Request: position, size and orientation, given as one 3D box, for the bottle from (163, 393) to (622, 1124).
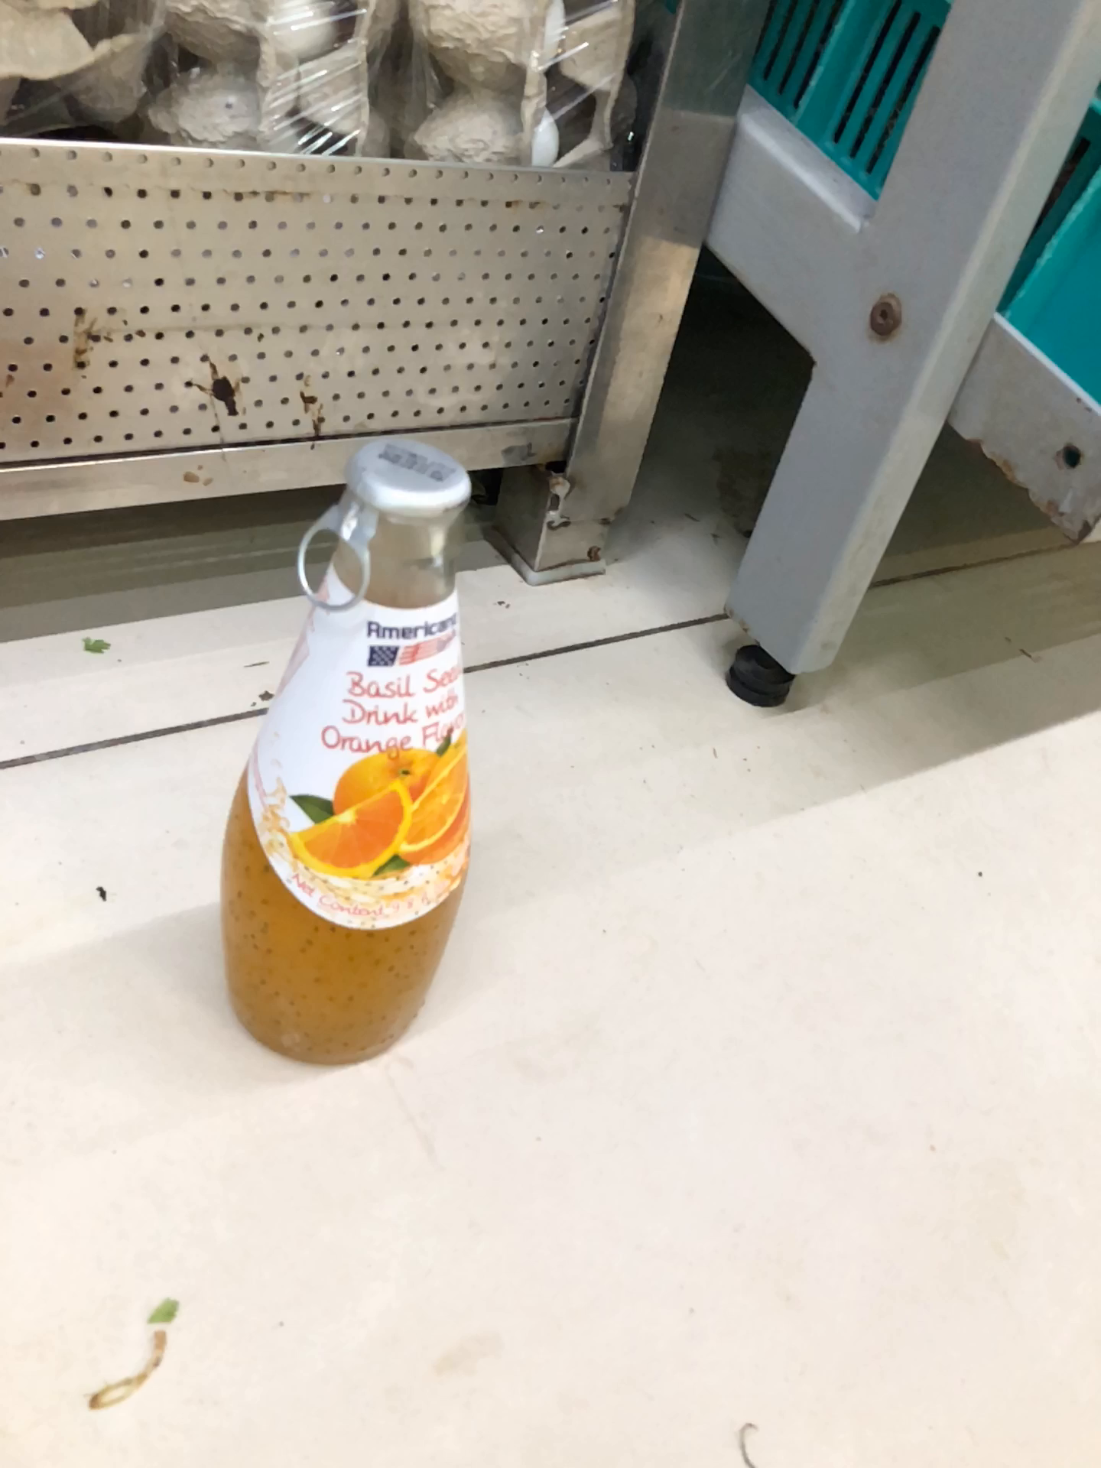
[{"bbox_3d":[-0.050,0.010,0.313,0.070,0.169,0.070,9,38,-7],"label":"bottle"}]
